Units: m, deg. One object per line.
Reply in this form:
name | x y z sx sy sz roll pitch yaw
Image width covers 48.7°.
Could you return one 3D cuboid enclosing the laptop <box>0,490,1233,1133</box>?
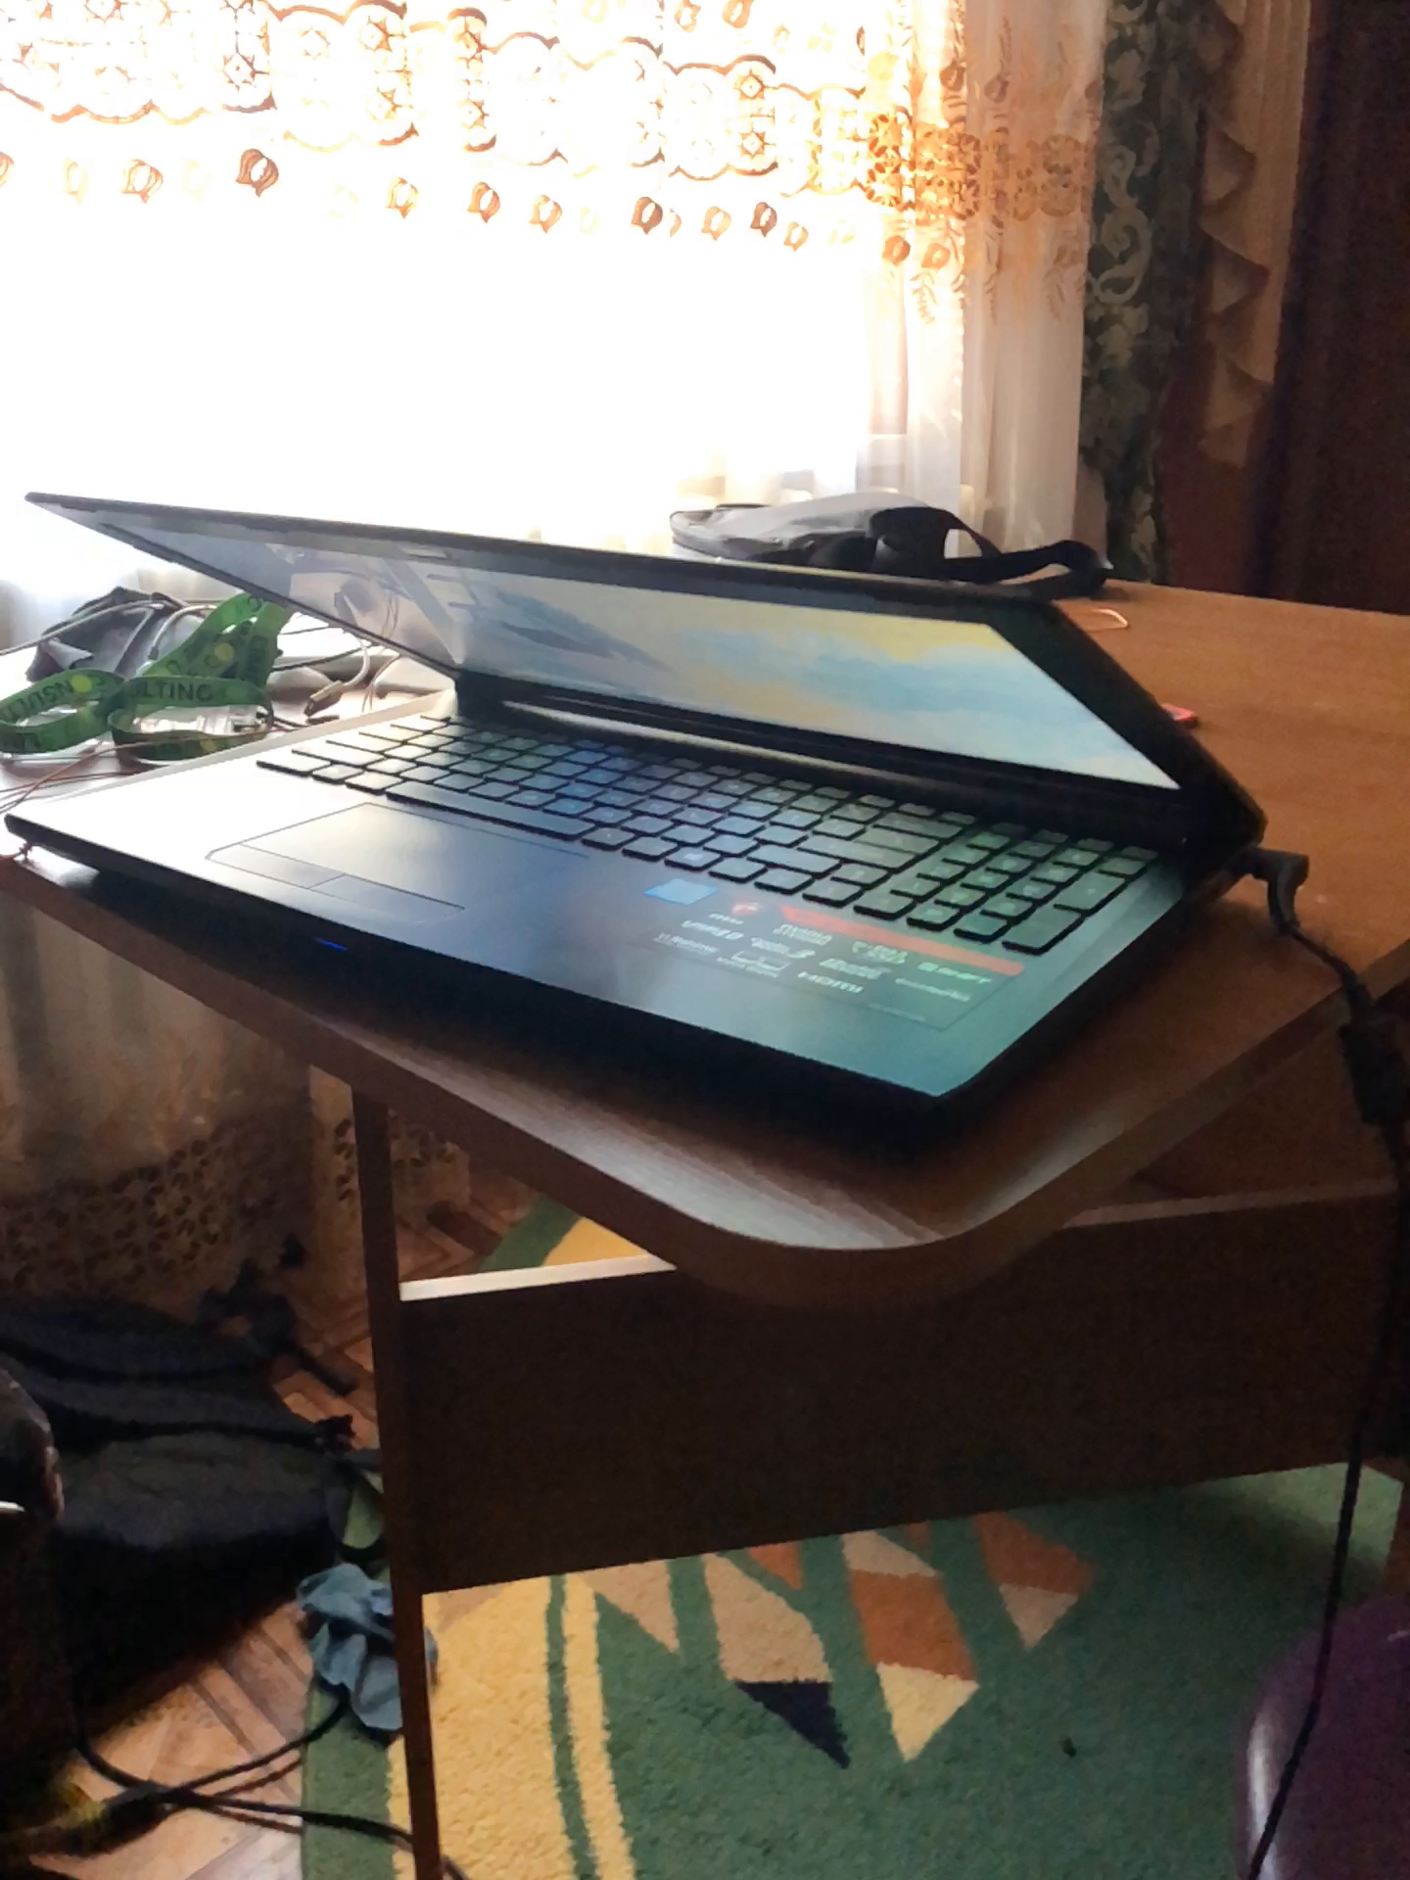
laptop | -0.046 -0.081 0.522 0.372 0.095 0.239 14 26 34
